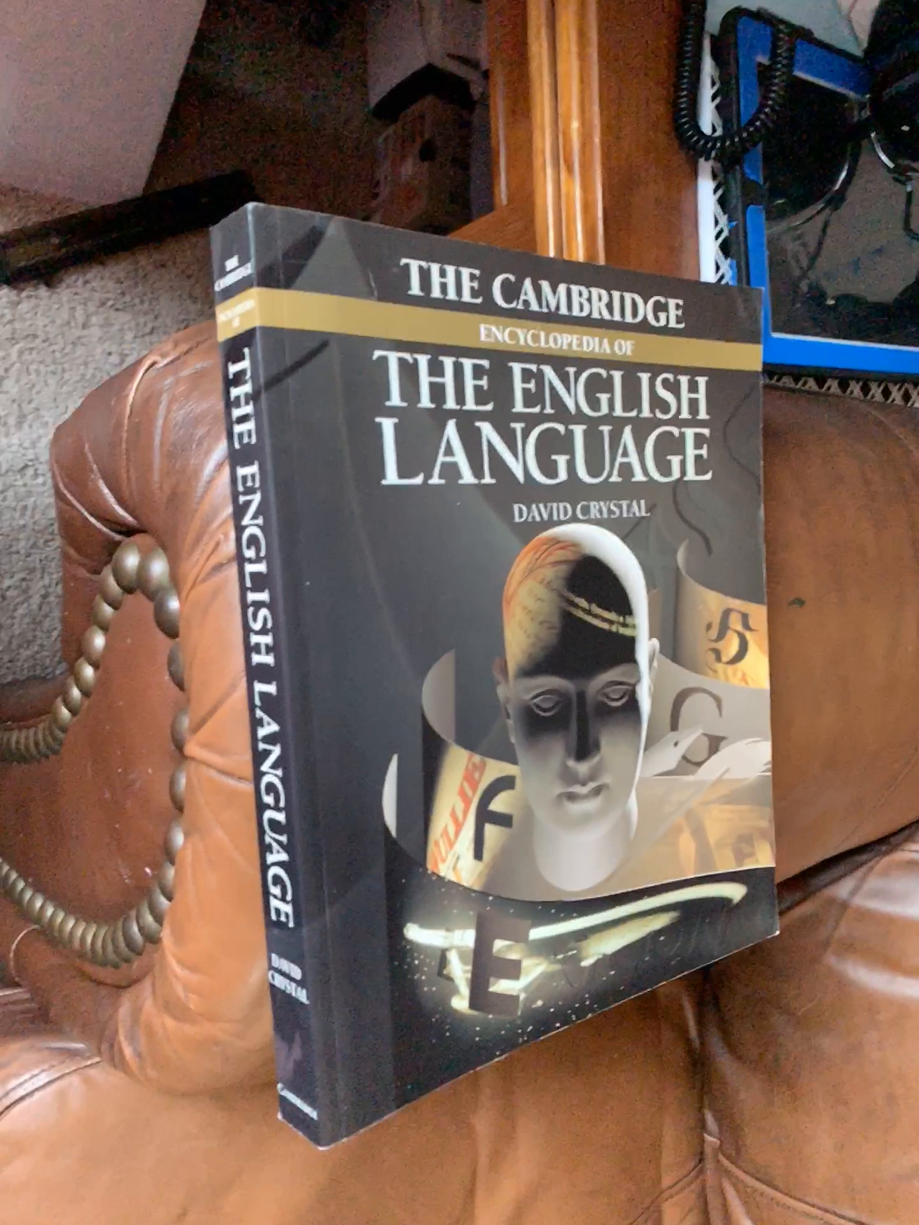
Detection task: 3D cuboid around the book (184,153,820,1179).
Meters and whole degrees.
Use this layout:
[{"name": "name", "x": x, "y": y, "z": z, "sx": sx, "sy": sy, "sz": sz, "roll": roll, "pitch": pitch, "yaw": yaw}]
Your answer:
[{"name": "book", "x": 0.036, "y": 0.008, "z": 0.349, "sx": 0.241, "sy": 0.050, "sz": 0.280, "roll": -7, "pitch": 94, "yaw": -37}]
